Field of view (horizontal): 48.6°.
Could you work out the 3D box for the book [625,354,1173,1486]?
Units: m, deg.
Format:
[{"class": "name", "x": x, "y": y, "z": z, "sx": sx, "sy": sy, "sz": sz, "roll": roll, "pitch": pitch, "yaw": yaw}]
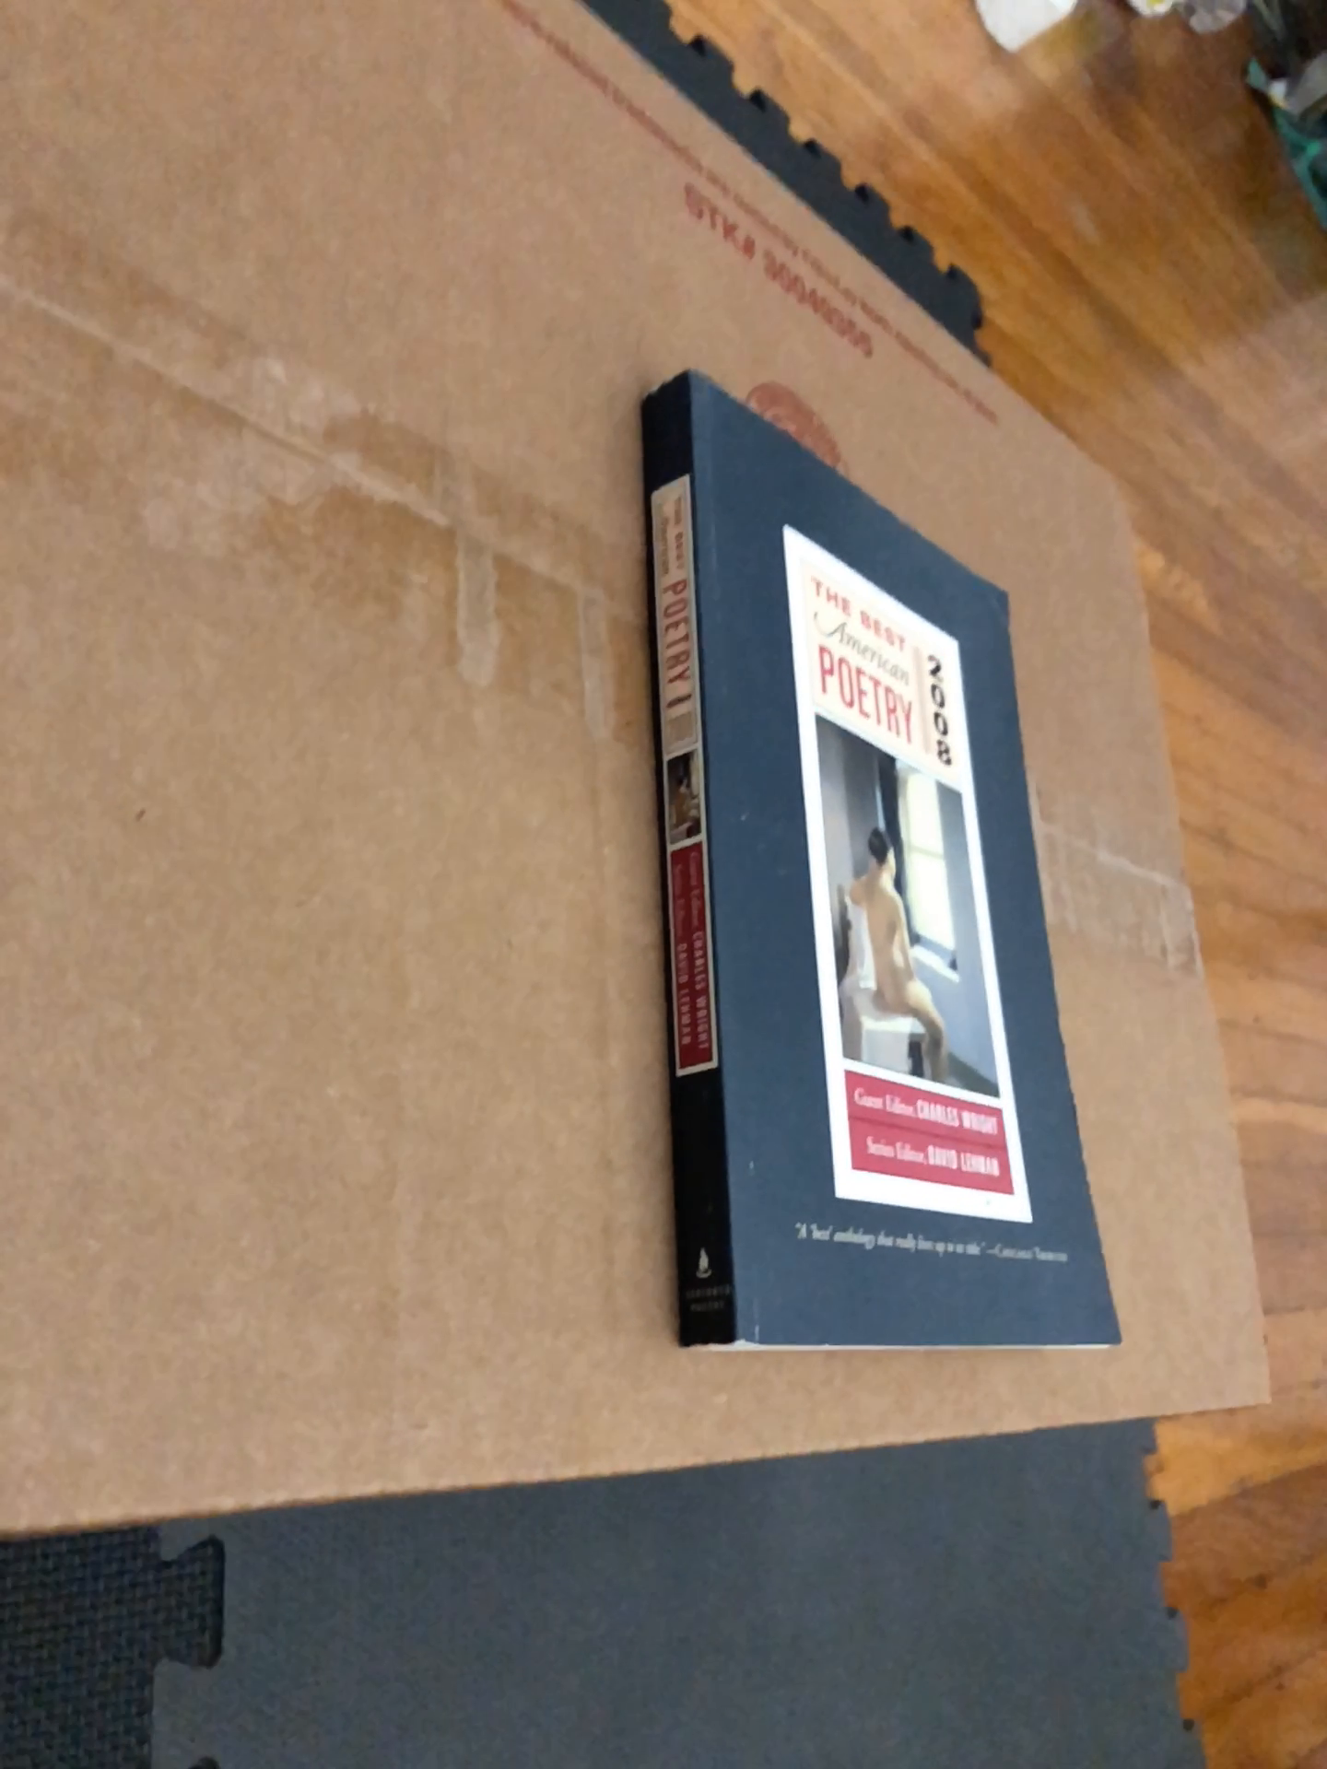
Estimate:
[{"class": "book", "x": 0.057, "y": 0.010, "z": 0.344, "sx": 0.151, "sy": 0.020, "sz": 0.230, "roll": 17, "pitch": 62, "yaw": -45}]
